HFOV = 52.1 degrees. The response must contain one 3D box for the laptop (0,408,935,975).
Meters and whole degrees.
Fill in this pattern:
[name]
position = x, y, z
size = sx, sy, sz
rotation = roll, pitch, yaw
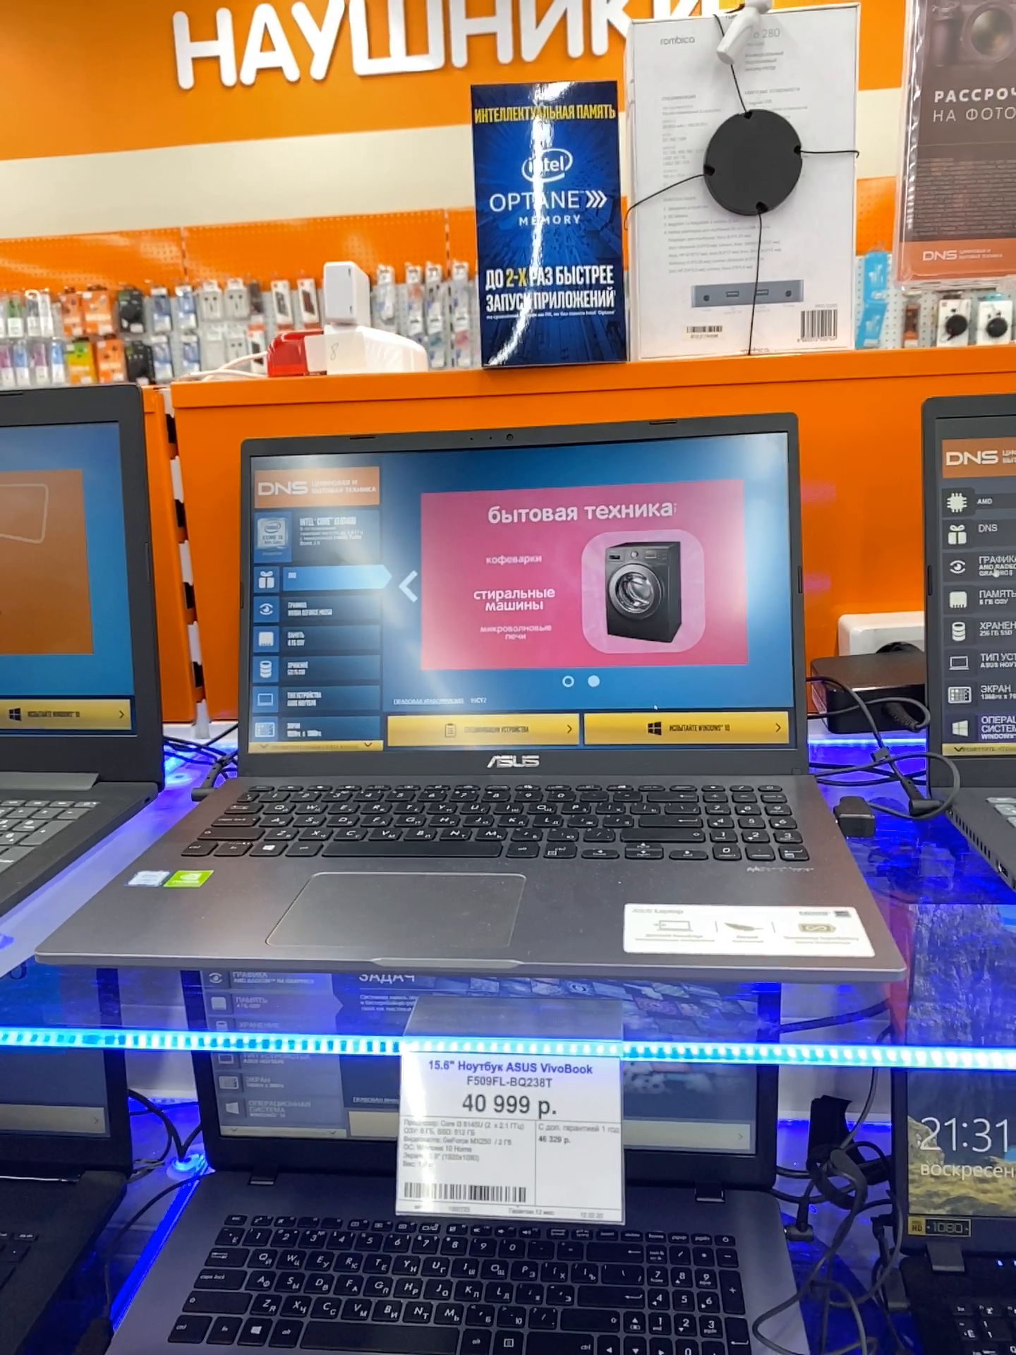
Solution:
[laptop]
position = -0.009, -0.024, 0.547
size = 0.357, 0.211, 0.307
rotation = -1, 13, 7
